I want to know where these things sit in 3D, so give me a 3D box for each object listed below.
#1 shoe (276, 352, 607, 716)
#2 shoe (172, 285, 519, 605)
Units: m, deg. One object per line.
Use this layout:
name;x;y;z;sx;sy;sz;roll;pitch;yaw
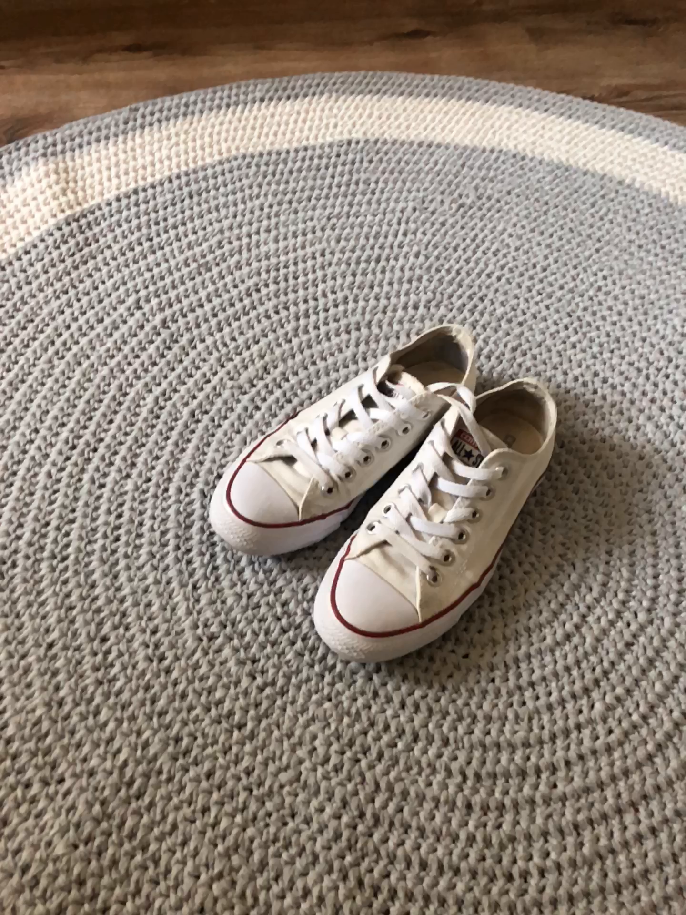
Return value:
shoe;0.071;0.042;0.523;0.100;0.070;0.240;35;60;18
shoe;0.008;-0.018;0.562;0.100;0.070;0.247;41;62;21
